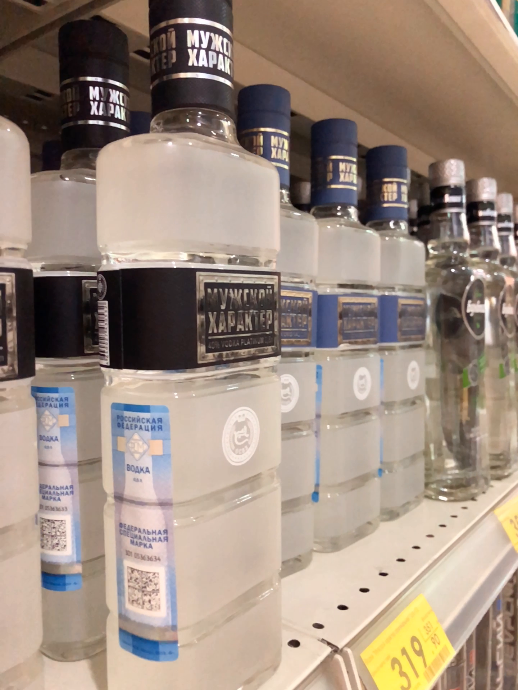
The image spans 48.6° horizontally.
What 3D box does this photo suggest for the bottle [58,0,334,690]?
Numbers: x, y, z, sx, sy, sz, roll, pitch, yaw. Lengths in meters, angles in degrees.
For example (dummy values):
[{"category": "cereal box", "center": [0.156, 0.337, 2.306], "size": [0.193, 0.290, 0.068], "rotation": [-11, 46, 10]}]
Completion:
[{"category": "bottle", "center": [-0.022, -0.004, 0.229], "size": [0.060, 0.290, 0.090], "rotation": [3, 3, 37]}]
